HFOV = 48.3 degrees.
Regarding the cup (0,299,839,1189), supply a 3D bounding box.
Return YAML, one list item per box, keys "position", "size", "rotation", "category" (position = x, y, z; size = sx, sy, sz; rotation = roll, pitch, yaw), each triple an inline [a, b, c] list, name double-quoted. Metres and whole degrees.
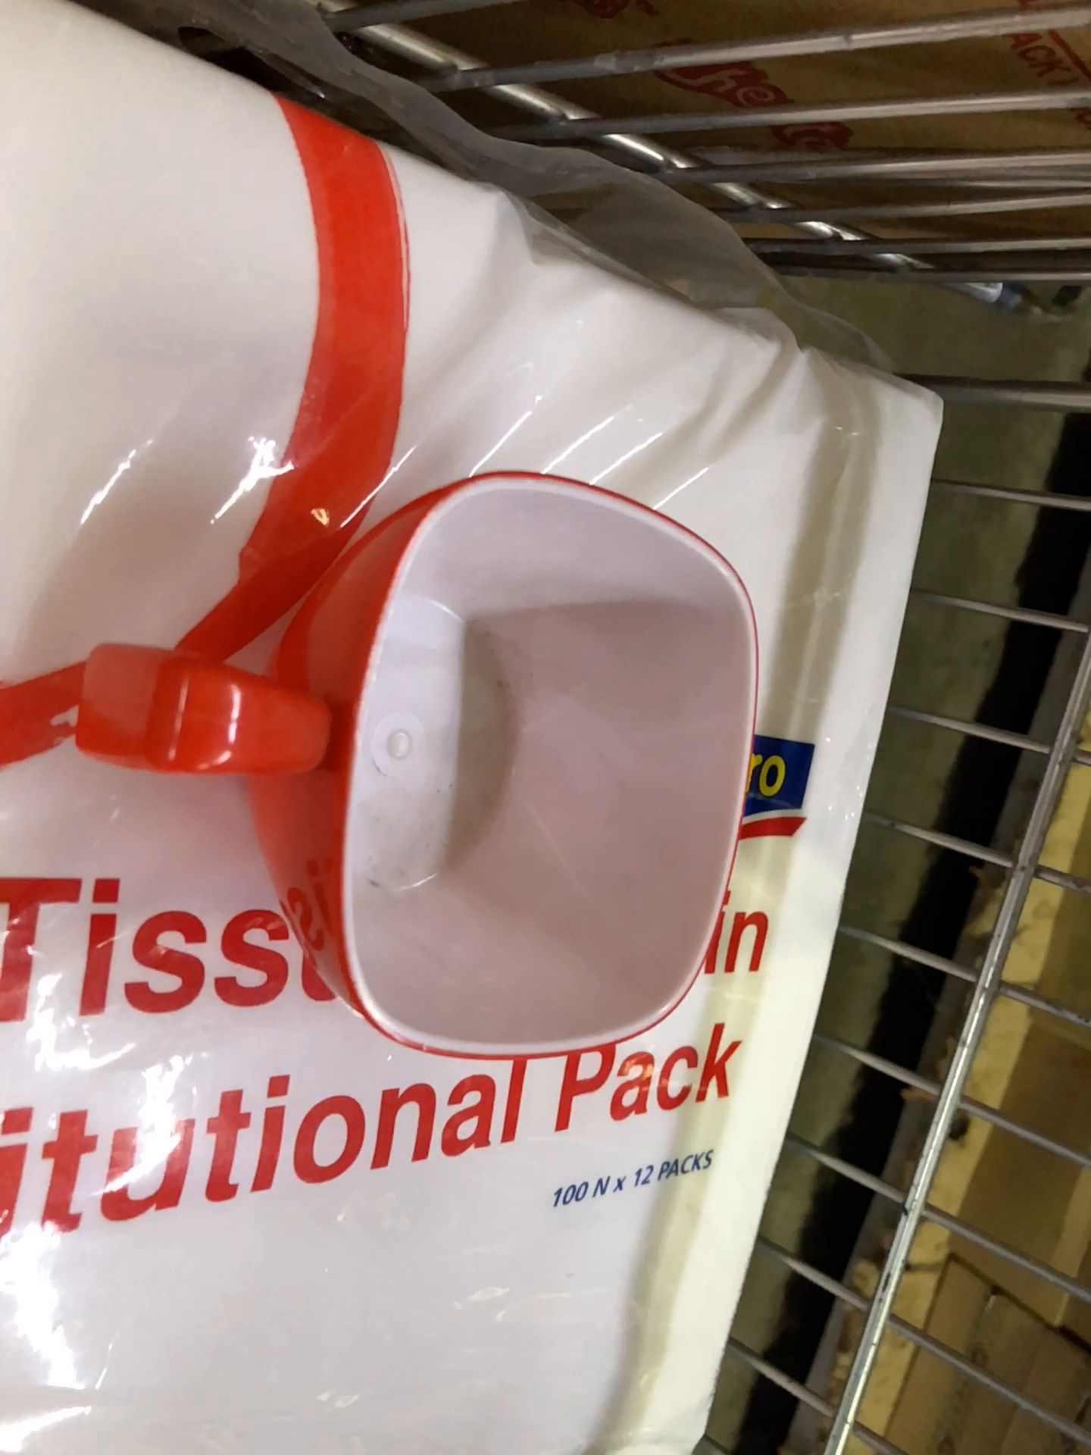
- position: [-0.022, 0.002, 0.187]
  size: [0.120, 0.060, 0.090]
  rotation: [8, 100, -50]
  category: "cup"
